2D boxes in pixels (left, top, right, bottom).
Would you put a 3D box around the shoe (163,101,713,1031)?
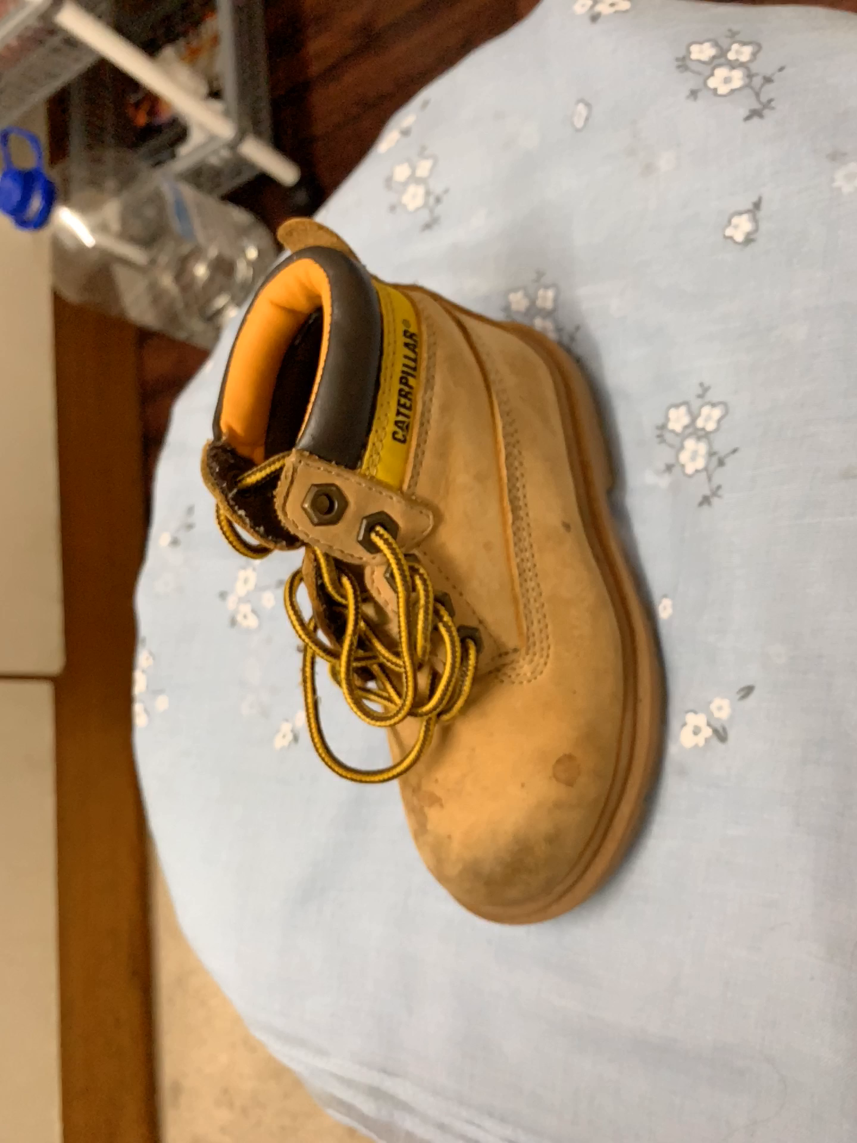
[{"bbox_3d":[0.005,0.004,0.255,0.096,0.119,0.190,-10,77,33],"label":"shoe"}]
